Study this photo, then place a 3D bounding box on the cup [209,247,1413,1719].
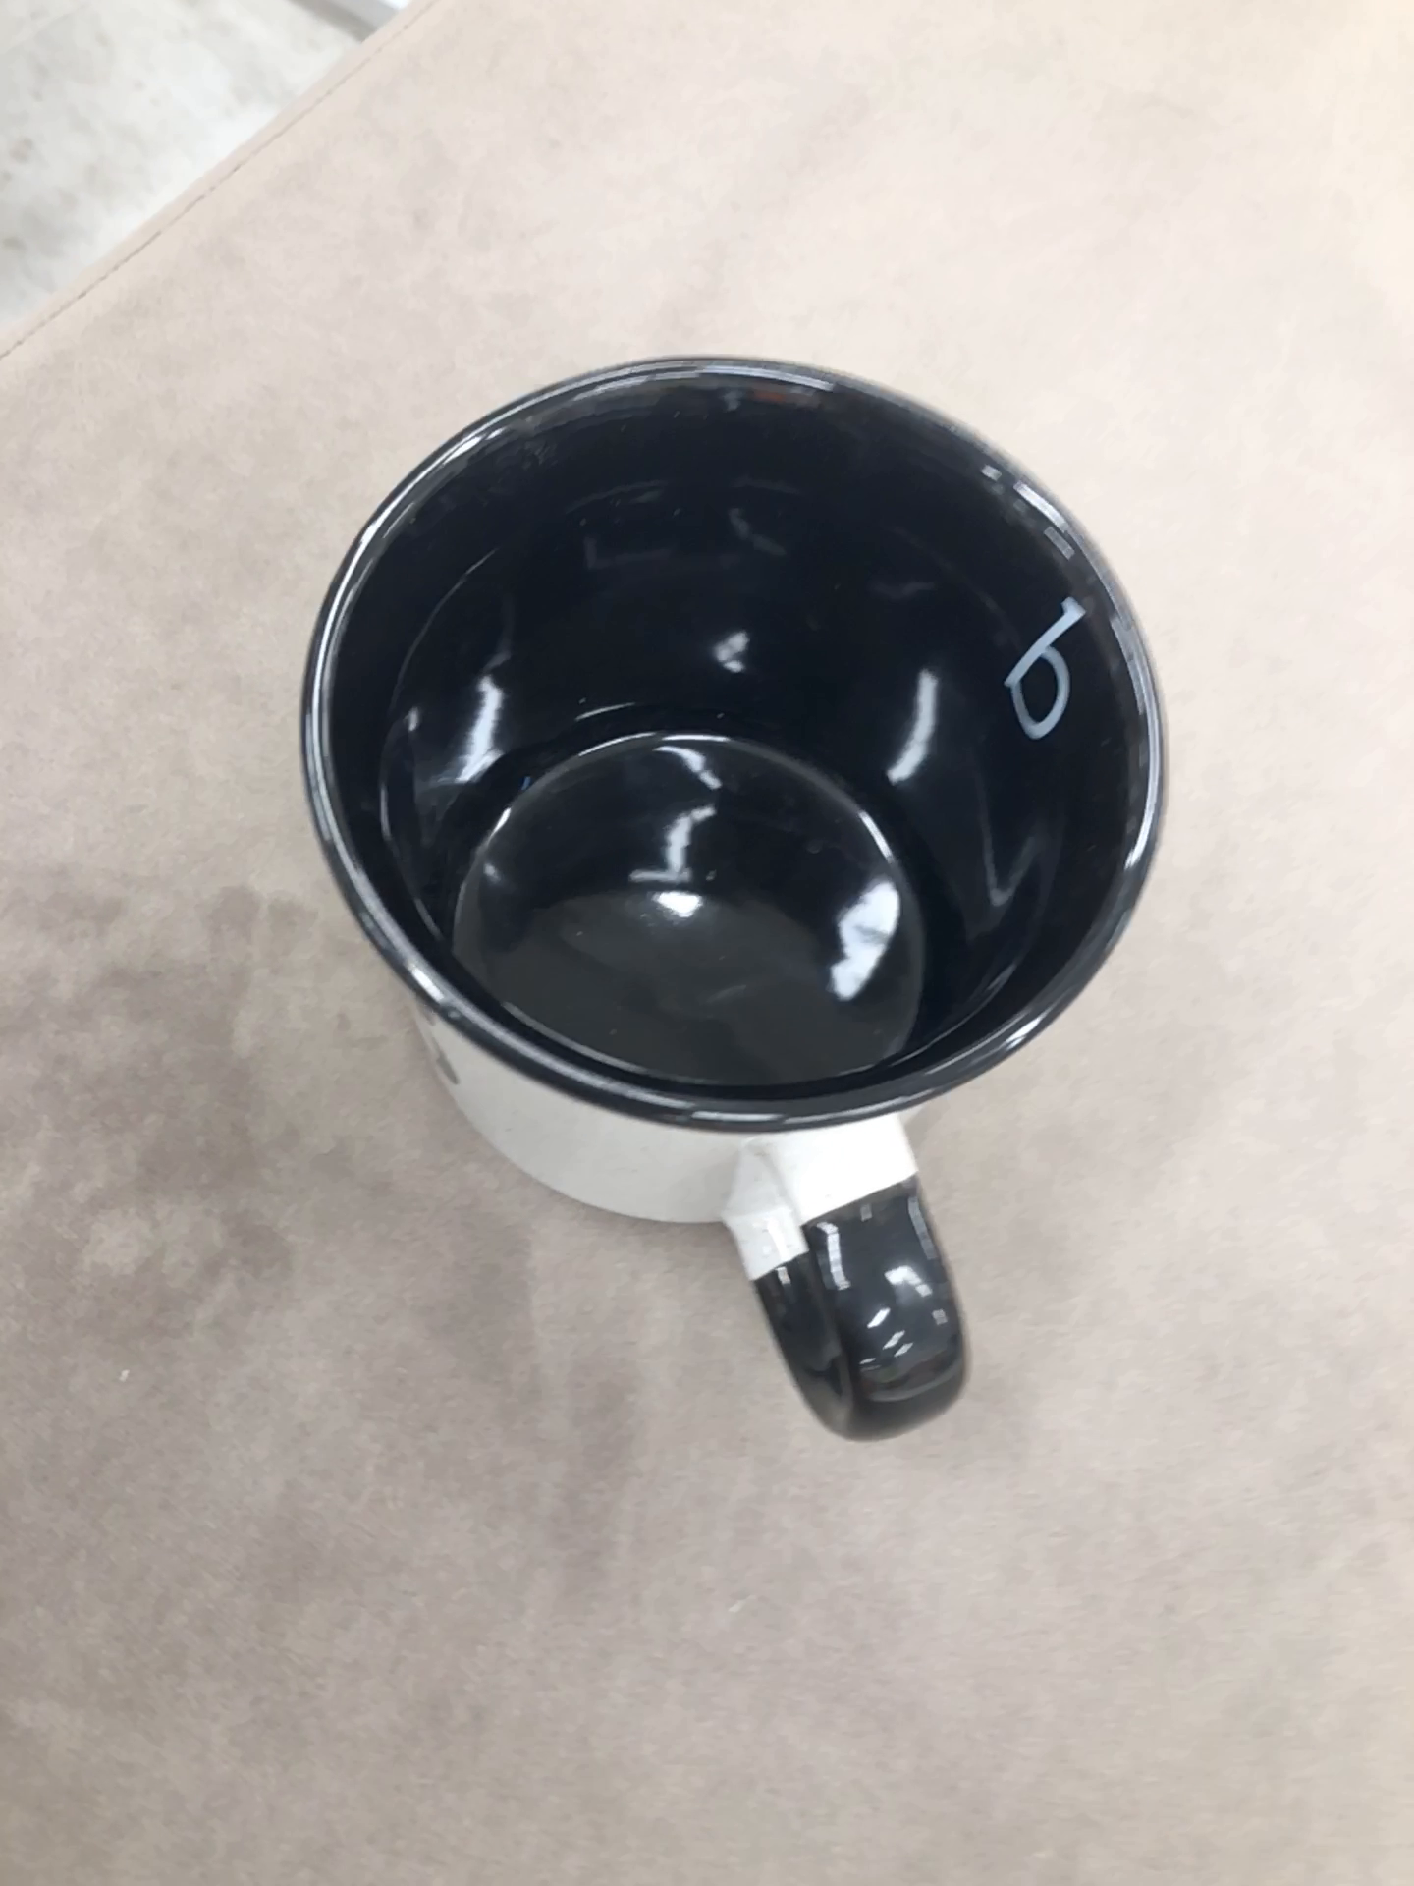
[{"bbox_3d":[0.010,0.005,0.218,0.100,0.090,0.150,-18,72,-12],"label":"cup"}]
